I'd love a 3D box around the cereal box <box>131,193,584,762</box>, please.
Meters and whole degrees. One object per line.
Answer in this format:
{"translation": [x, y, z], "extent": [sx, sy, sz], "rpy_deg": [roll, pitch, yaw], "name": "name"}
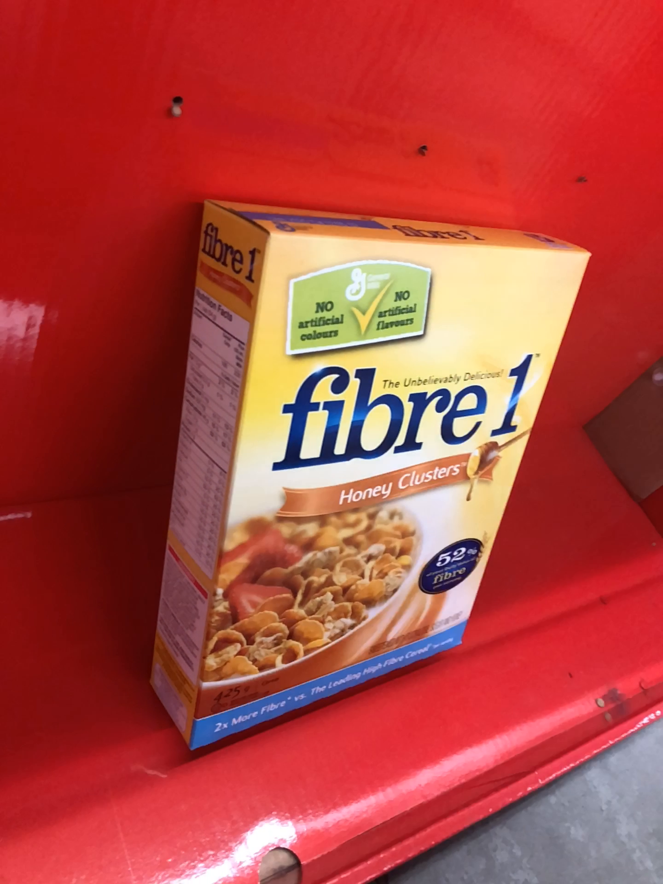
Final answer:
{"translation": [0.010, 0.017, 0.401], "extent": [0.211, 0.269, 0.060], "rpy_deg": [-8, 29, -36], "name": "cereal box"}
